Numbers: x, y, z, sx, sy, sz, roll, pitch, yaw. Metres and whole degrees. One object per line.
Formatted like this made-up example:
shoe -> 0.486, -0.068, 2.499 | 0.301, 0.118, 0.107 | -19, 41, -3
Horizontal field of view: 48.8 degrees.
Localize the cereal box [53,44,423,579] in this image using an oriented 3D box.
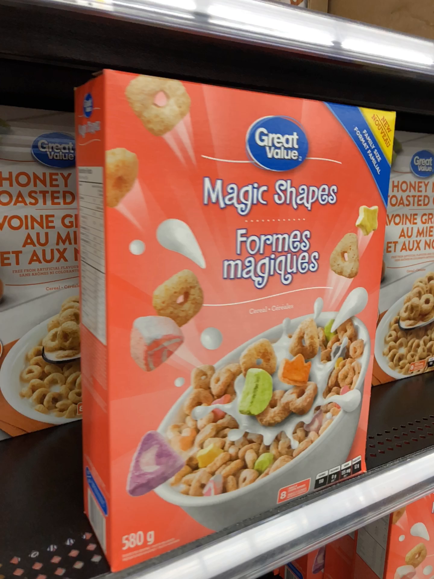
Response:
cereal box -> 0.023, 0.014, 0.367 | 0.260, 0.319, 0.070 | -6, 15, -31
